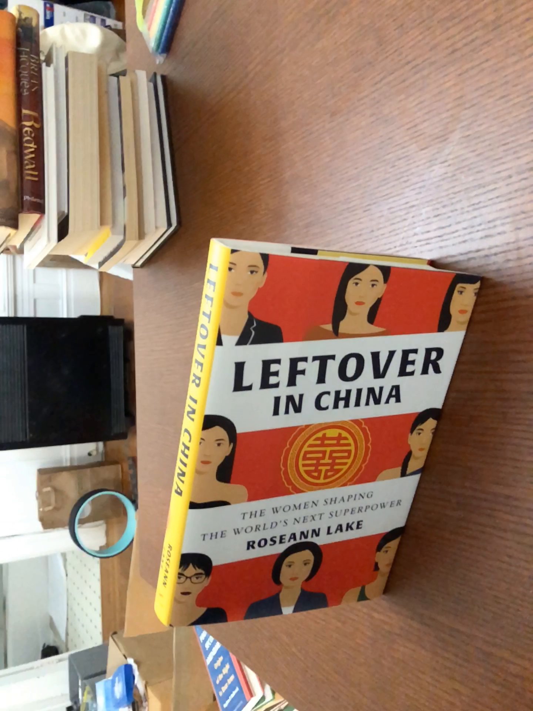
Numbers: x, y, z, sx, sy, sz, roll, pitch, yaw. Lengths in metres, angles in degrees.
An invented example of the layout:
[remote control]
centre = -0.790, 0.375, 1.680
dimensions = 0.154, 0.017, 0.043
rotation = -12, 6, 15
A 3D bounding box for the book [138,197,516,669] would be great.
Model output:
[book]
centre = 0.031, 0.049, 0.366
dimensions = 0.060, 0.179, 0.260
rotation = 39, 123, 52
